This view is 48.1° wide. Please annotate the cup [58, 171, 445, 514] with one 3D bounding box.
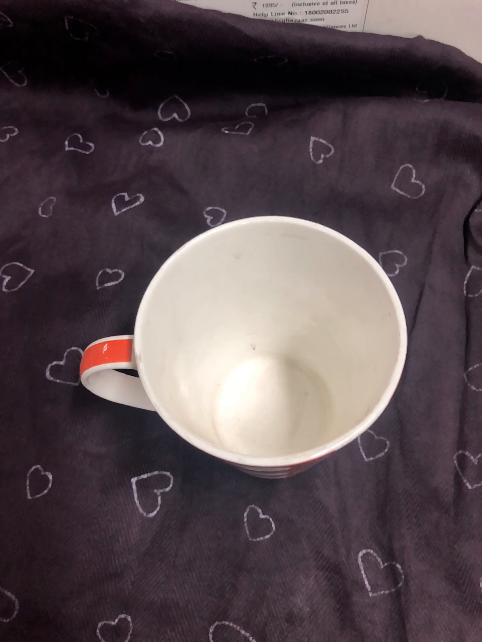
[{"bbox_3d":[-0.003,0.015,0.217,0.110,0.100,0.090,-8,64,-4],"label":"cup"}]
